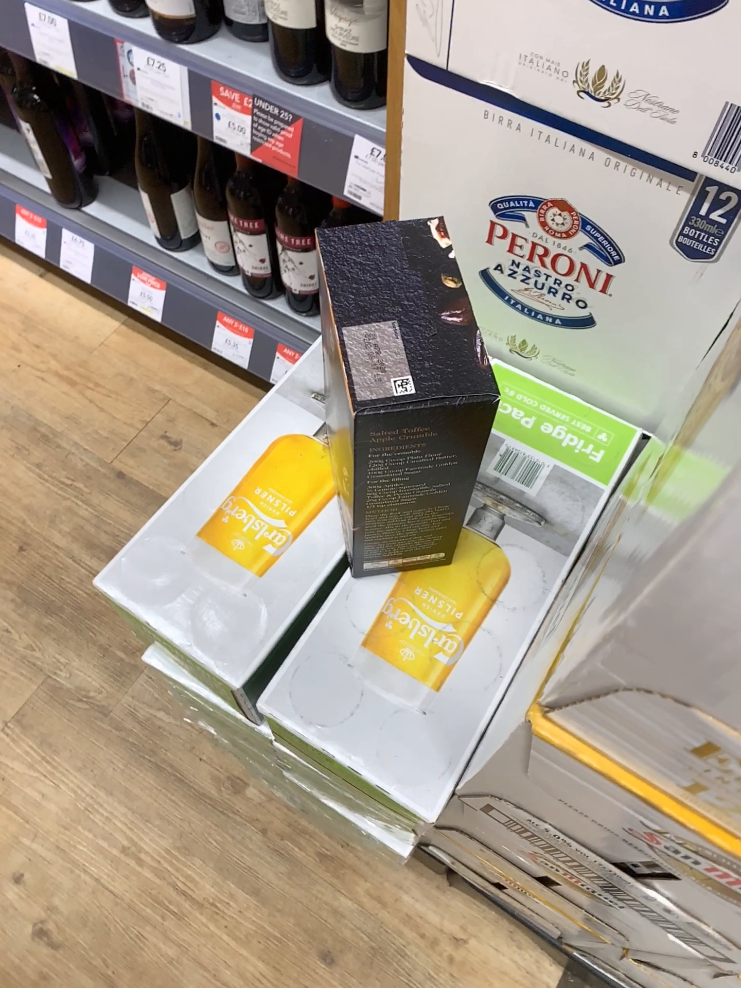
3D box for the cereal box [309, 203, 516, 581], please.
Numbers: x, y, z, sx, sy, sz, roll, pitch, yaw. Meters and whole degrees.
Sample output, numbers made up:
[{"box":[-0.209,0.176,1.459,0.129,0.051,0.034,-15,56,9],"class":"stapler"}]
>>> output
[{"box":[0.015,-0.048,0.465,0.080,0.209,0.121,-8,62,-6],"class":"cereal box"}]
